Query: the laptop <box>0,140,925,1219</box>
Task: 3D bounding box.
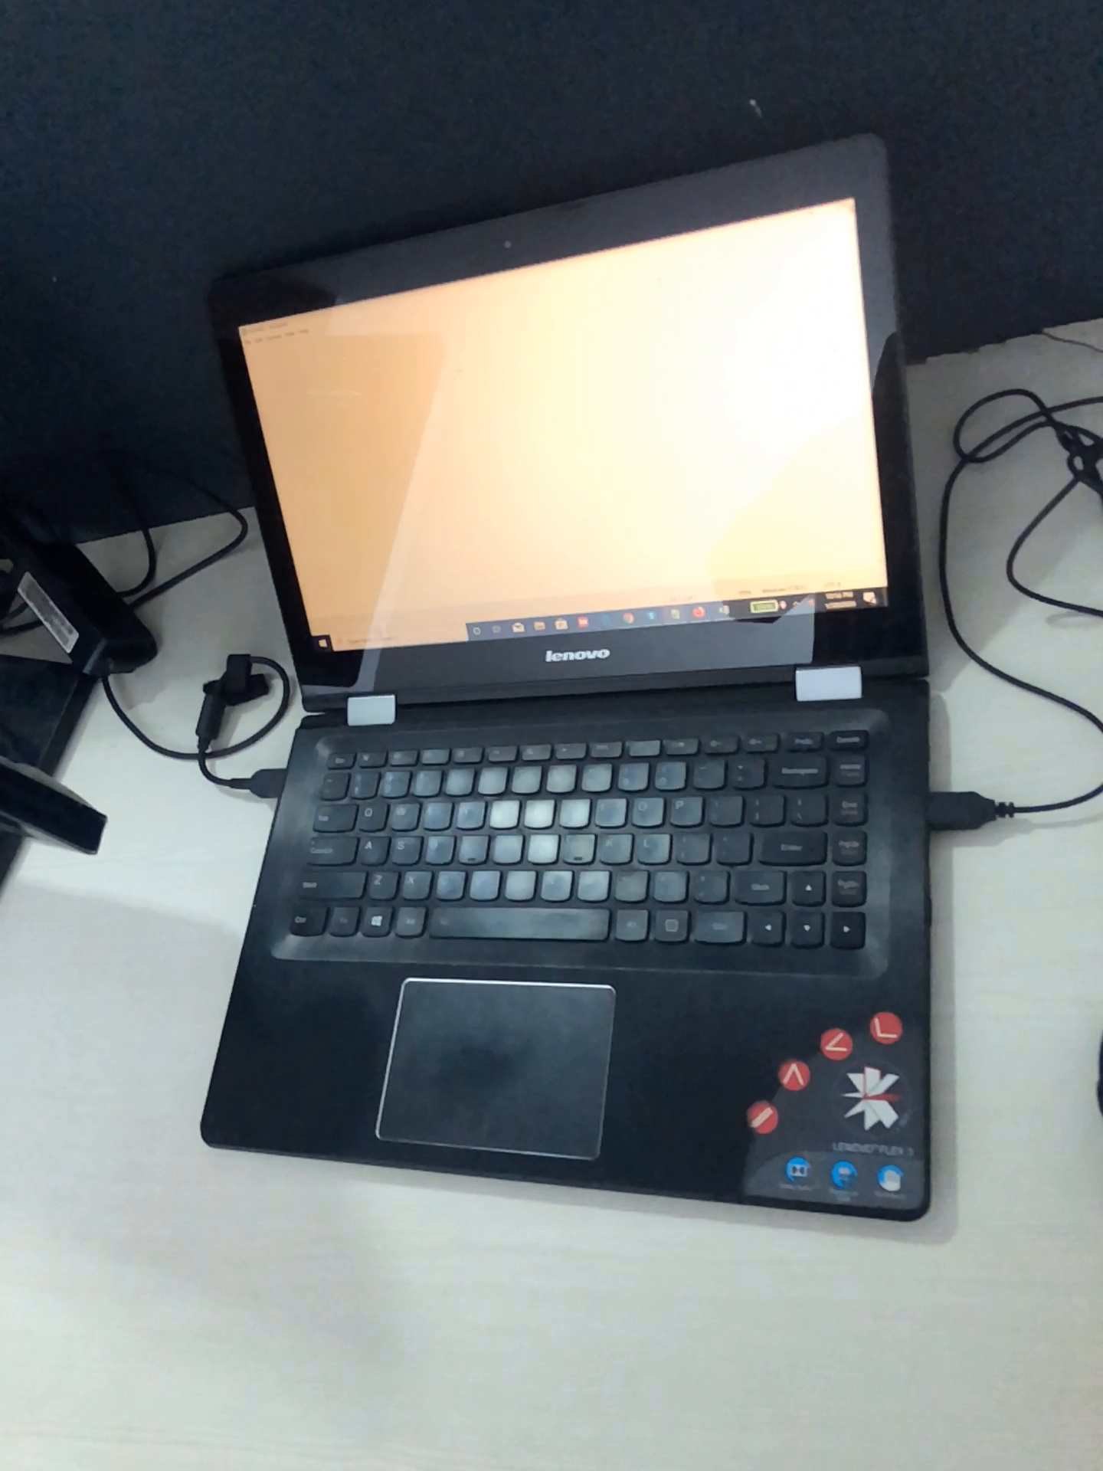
[{"bbox_3d":[-0.019,-0.023,0.530,0.335,0.171,0.386,-3,61,22],"label":"laptop"}]
